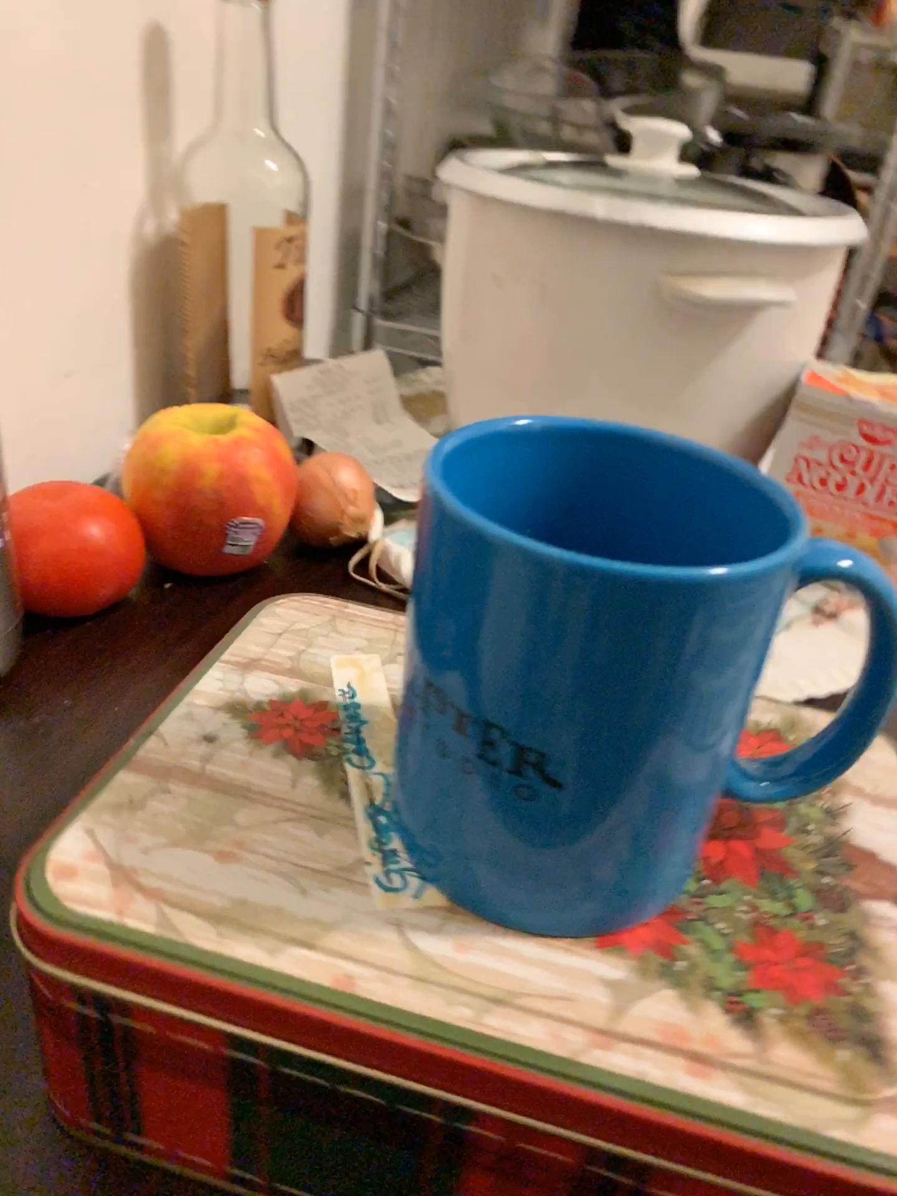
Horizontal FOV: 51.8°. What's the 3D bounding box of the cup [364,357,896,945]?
[{"bbox_3d":[0.052,0.009,0.222,0.130,0.099,0.091,1,30,-11],"label":"cup"}]
